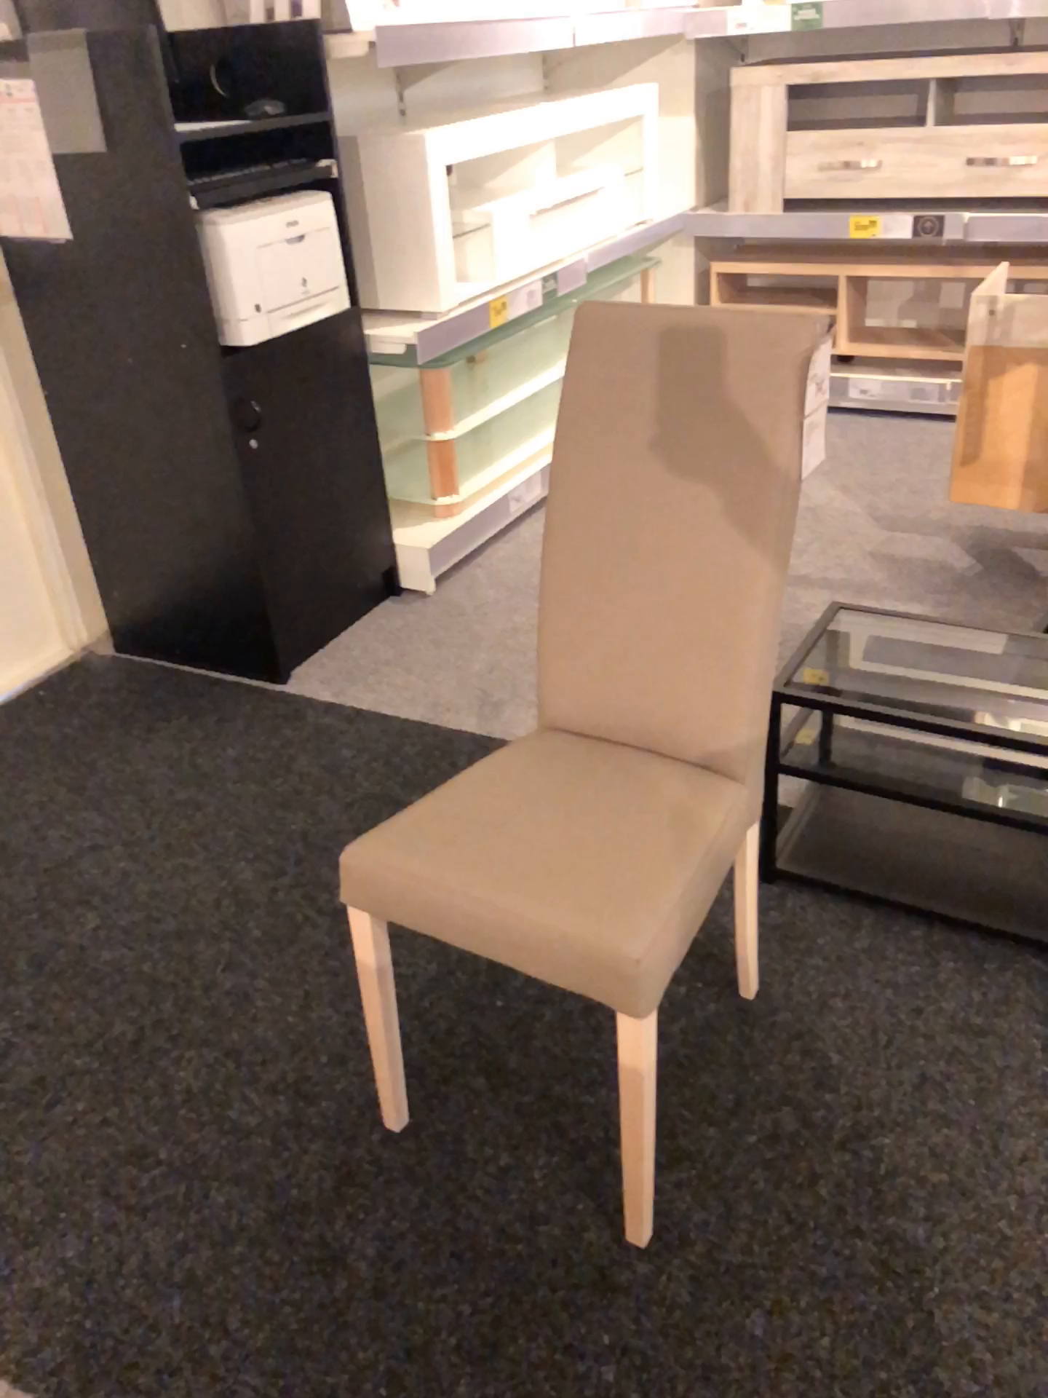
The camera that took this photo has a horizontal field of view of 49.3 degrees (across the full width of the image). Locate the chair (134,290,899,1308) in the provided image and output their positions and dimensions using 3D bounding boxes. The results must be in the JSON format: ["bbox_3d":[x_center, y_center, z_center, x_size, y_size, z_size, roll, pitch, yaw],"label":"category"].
[{"bbox_3d":[0.059,0.065,1.395,0.530,0.945,0.634,13,34,29],"label":"chair"}]
